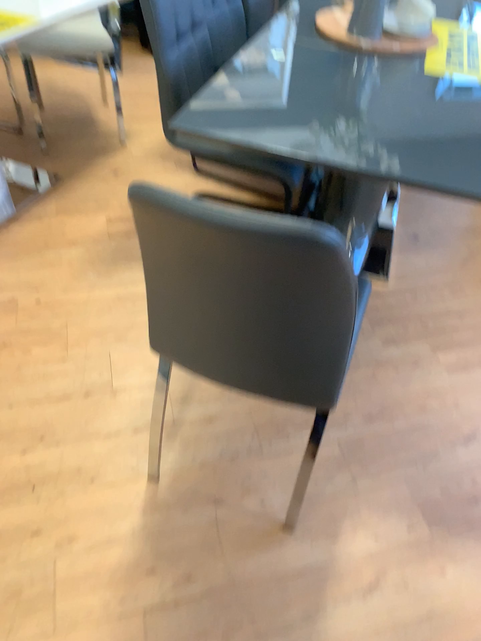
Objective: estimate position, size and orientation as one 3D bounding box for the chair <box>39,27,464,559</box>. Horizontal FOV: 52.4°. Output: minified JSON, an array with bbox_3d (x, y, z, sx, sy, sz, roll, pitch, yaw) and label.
[{"bbox_3d":[0.059,-0.029,1.107,0.510,0.912,0.635,17,46,11],"label":"chair"}]
